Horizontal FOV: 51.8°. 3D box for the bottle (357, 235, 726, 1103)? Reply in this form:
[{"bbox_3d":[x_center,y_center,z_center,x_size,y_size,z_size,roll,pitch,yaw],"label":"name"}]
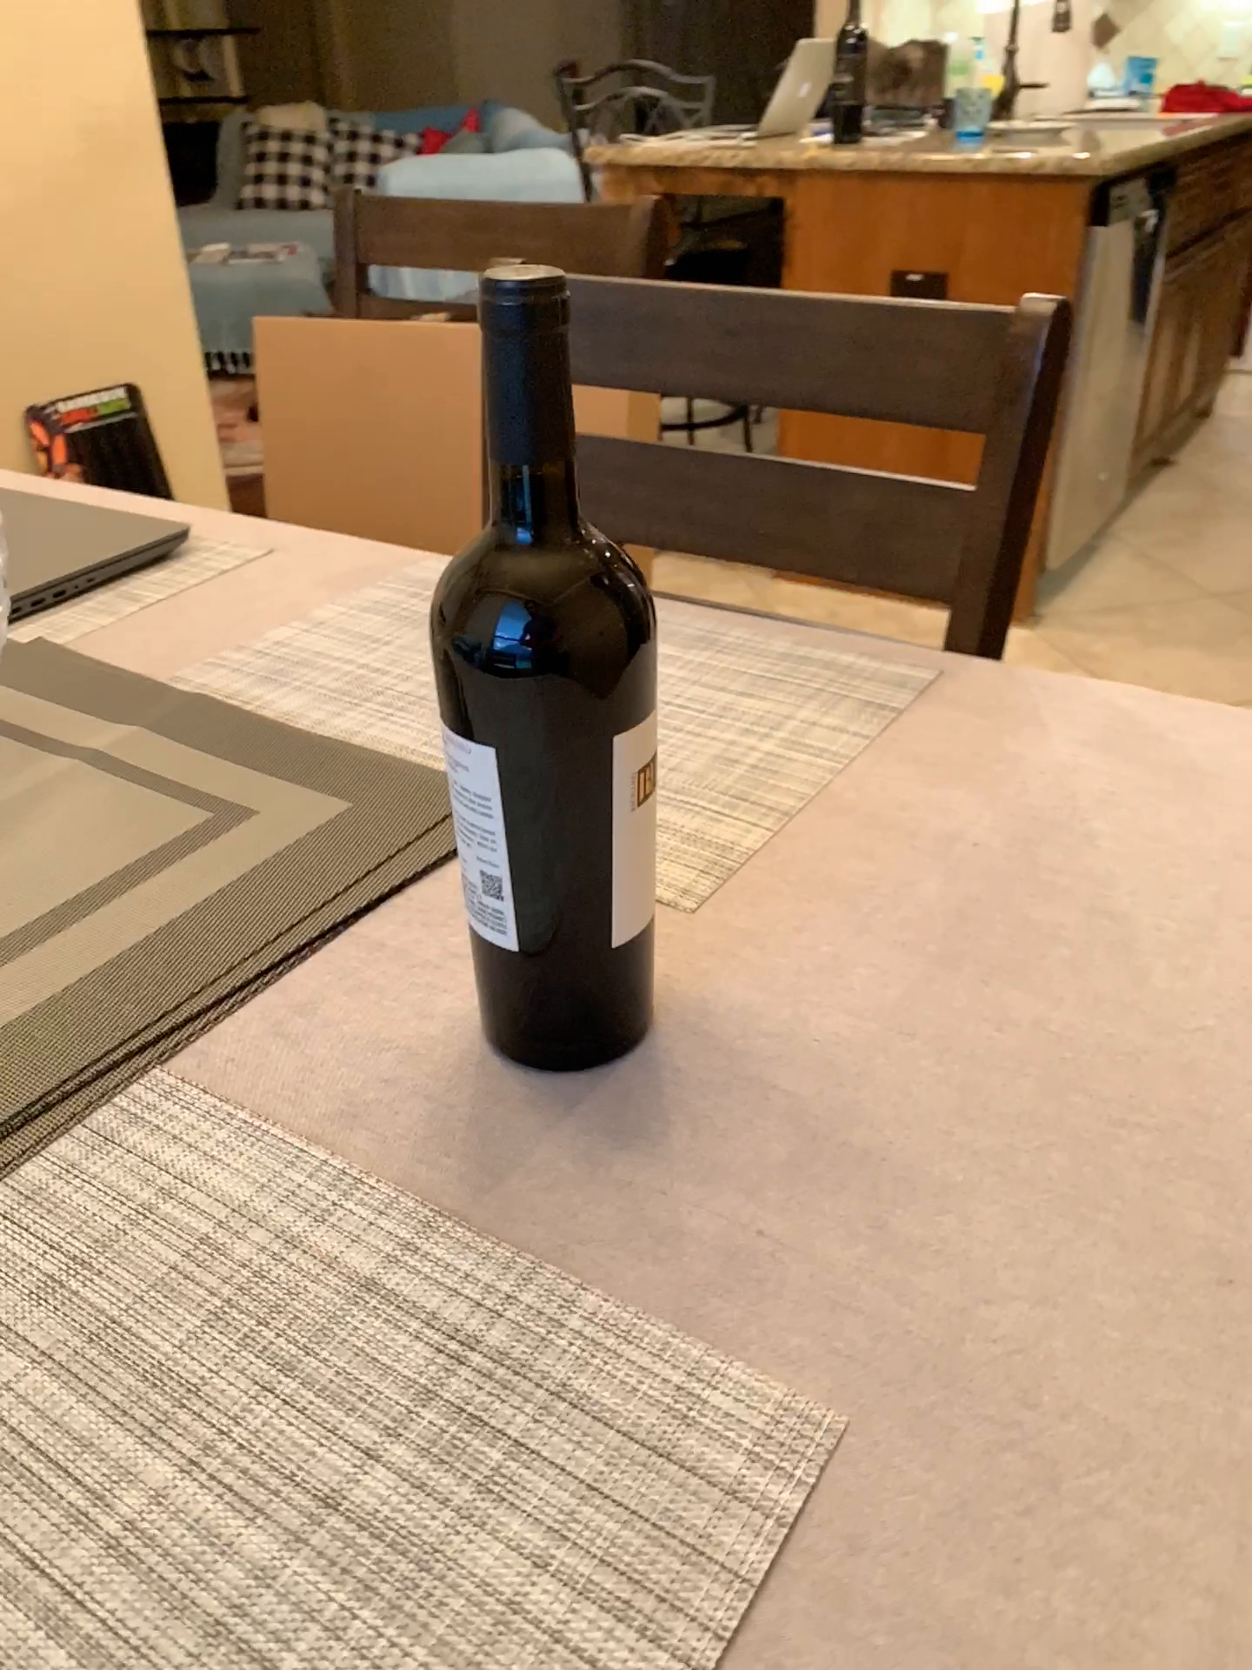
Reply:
[{"bbox_3d":[-0.026,-0.053,0.480,0.090,0.298,0.084,-1,31,1],"label":"bottle"}]
